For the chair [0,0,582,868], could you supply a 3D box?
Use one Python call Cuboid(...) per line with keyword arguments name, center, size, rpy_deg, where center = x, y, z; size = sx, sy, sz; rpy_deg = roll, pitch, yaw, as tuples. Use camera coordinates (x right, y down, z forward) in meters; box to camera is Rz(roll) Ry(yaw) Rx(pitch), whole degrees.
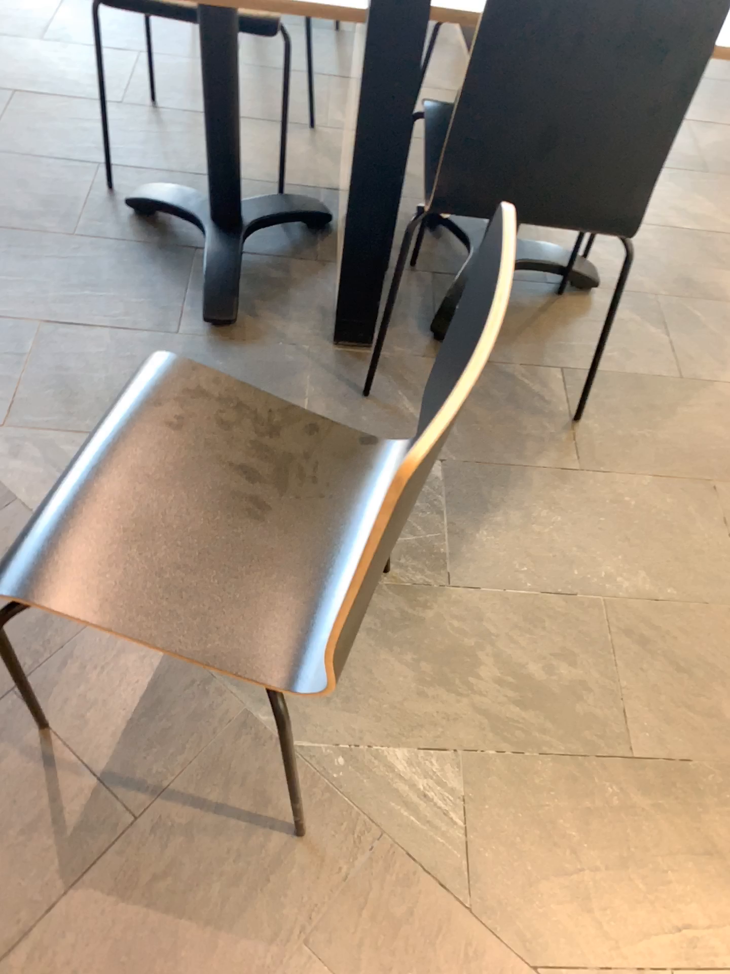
Cuboid(name="chair", center=(-0.179, 0.034, 0.900), size=(0.520, 0.838, 0.521), rpy_deg=(20, 55, 5))
